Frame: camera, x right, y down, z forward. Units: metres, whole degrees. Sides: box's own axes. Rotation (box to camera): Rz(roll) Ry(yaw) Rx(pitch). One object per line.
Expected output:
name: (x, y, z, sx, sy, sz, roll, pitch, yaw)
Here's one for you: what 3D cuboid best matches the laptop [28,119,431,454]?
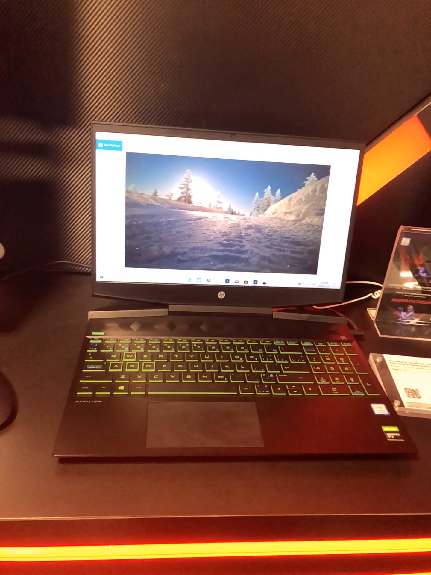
laptop: (0.024, -0.027, 0.540, 0.355, 0.240, 0.315, 2, 27, -6)
